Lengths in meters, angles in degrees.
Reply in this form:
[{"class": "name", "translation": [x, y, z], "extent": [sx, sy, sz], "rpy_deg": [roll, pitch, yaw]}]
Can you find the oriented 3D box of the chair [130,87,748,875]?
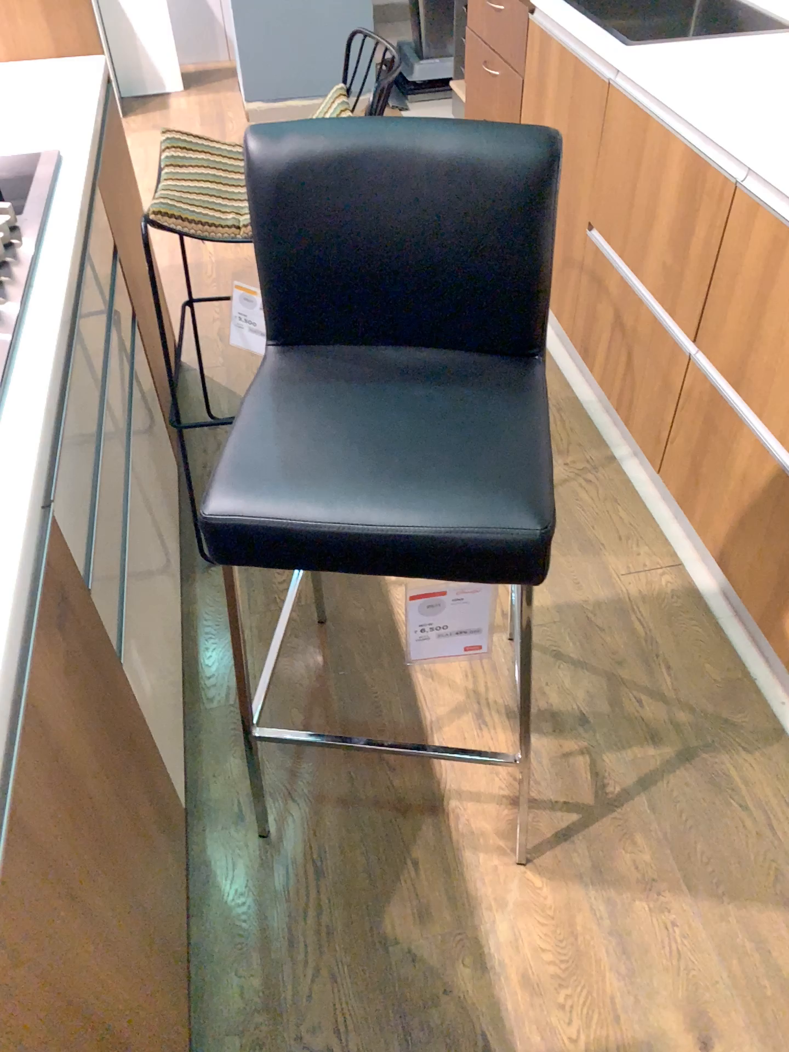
[{"class": "chair", "translation": [0.082, 0.006, 1.187], "extent": [0.500, 1.026, 0.522], "rpy_deg": [7, 46, 9]}]
